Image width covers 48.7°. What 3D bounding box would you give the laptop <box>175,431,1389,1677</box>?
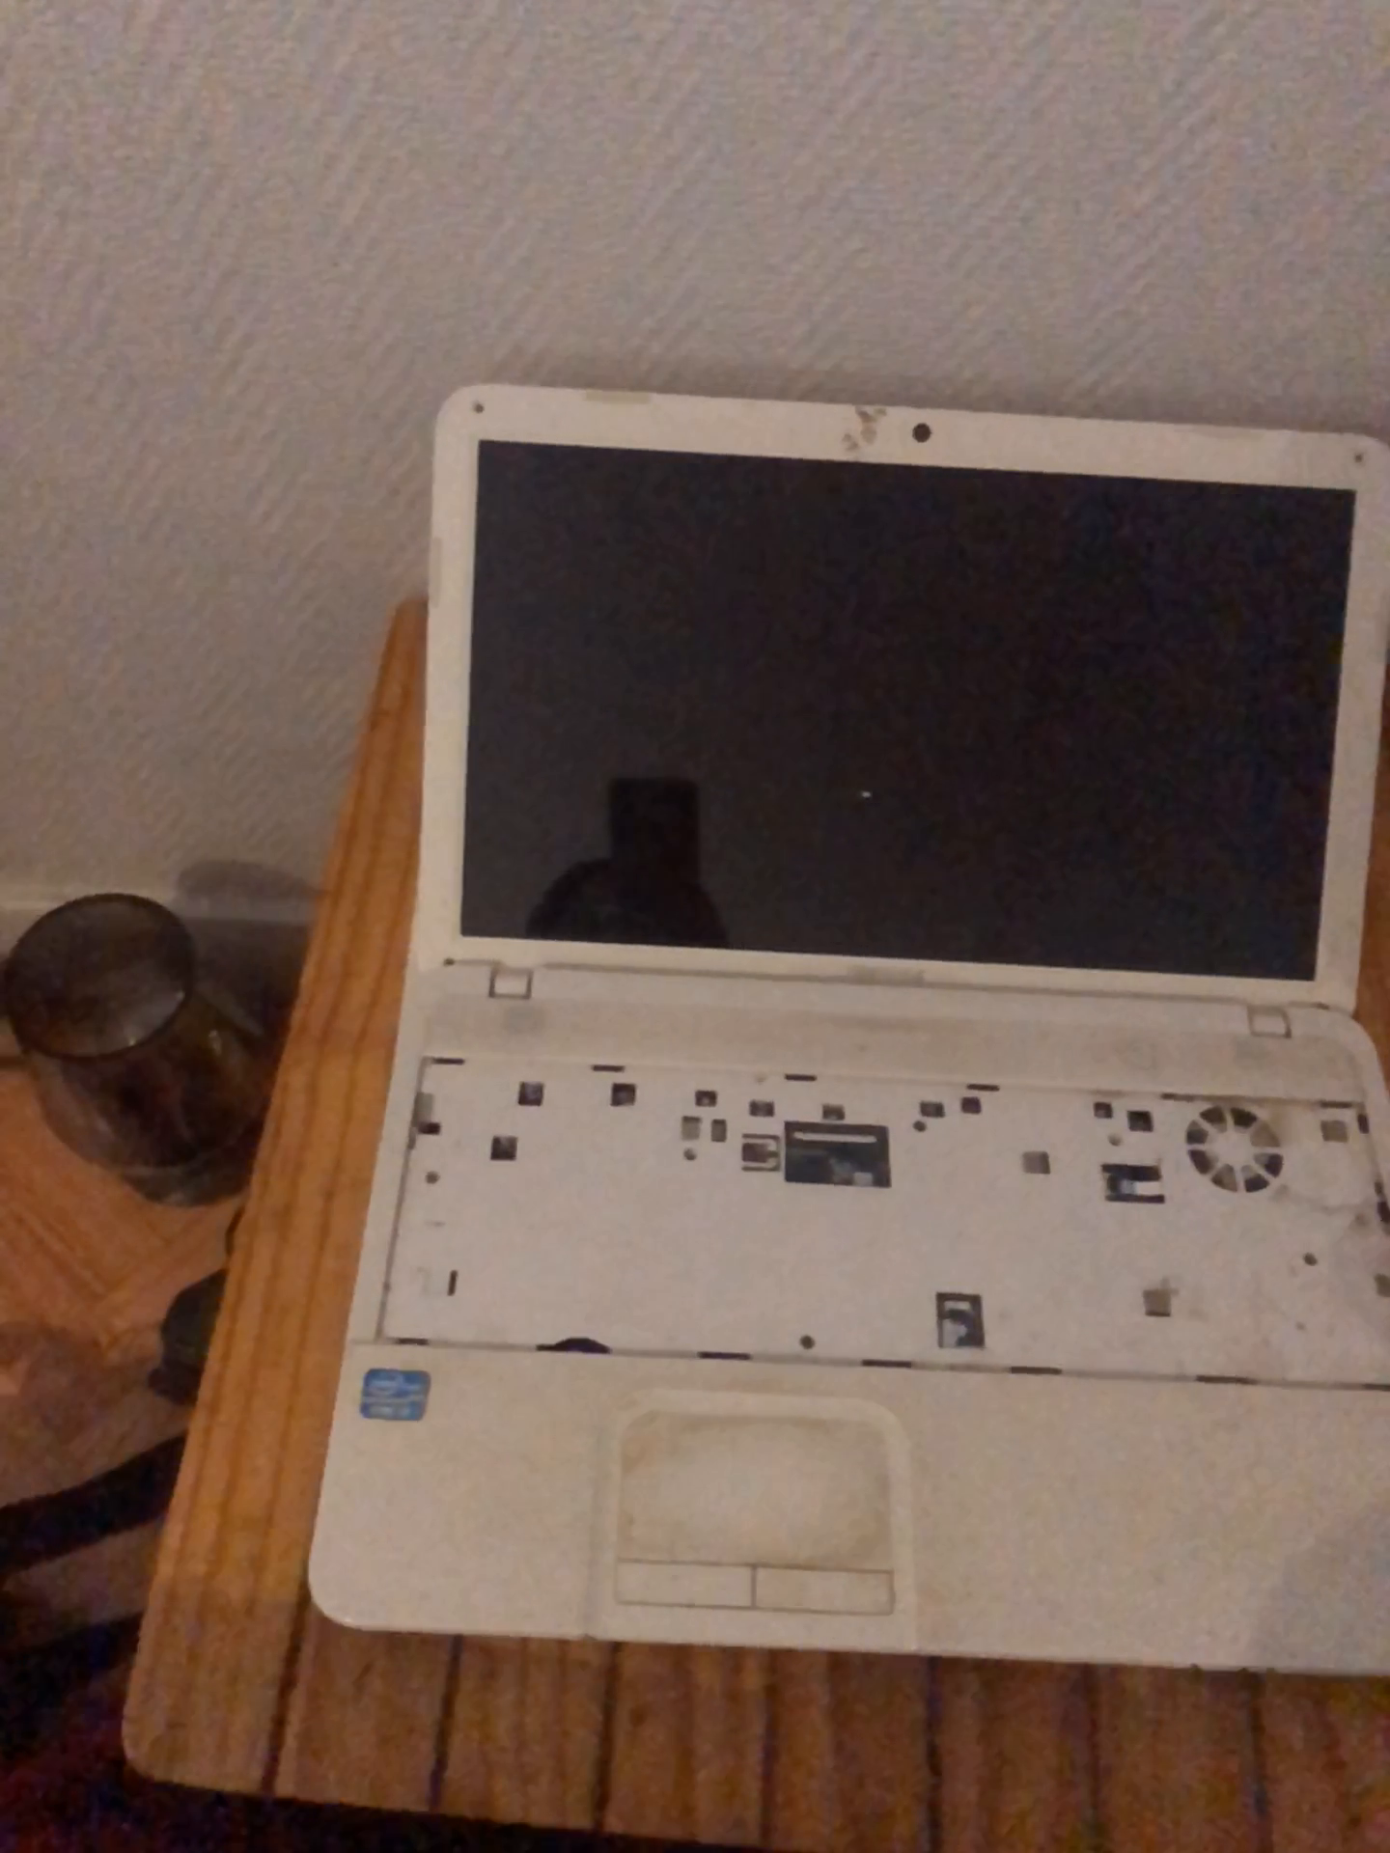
[{"bbox_3d":[0.068,0.016,0.539,0.371,0.118,0.419,3,55,0],"label":"laptop"}]
